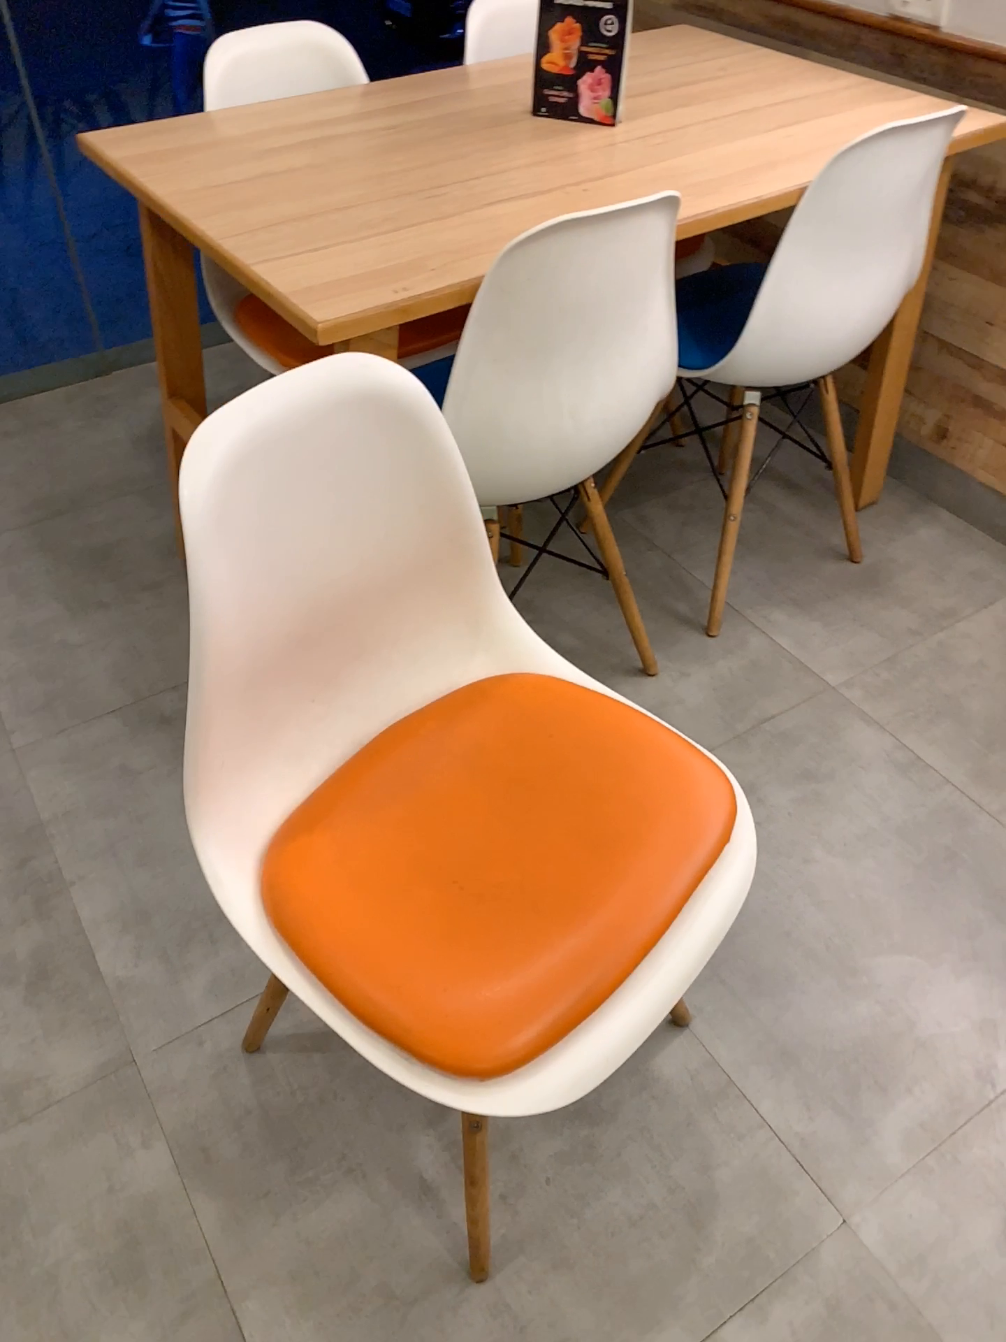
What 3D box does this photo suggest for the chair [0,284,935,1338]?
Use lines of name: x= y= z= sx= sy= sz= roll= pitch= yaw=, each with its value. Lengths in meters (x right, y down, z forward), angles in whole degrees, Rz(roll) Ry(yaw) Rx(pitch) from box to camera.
chair: x=-0.034 y=0.126 z=0.954 sx=0.482 sy=0.704 sz=0.472 roll=33 pitch=52 yaw=30
